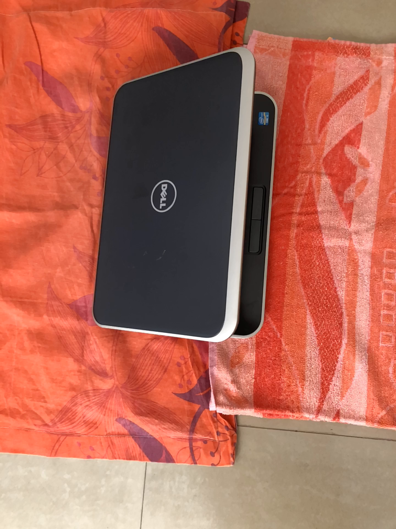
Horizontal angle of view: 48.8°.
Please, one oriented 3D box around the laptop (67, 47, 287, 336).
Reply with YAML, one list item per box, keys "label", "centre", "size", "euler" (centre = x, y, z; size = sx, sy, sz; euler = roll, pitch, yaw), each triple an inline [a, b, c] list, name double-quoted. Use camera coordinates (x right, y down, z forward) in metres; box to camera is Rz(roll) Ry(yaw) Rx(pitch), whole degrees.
- label: "laptop"
  centre: [-0.020, -0.092, 0.588]
  size: [0.241, 0.129, 0.345]
  euler: [4, 84, 7]
